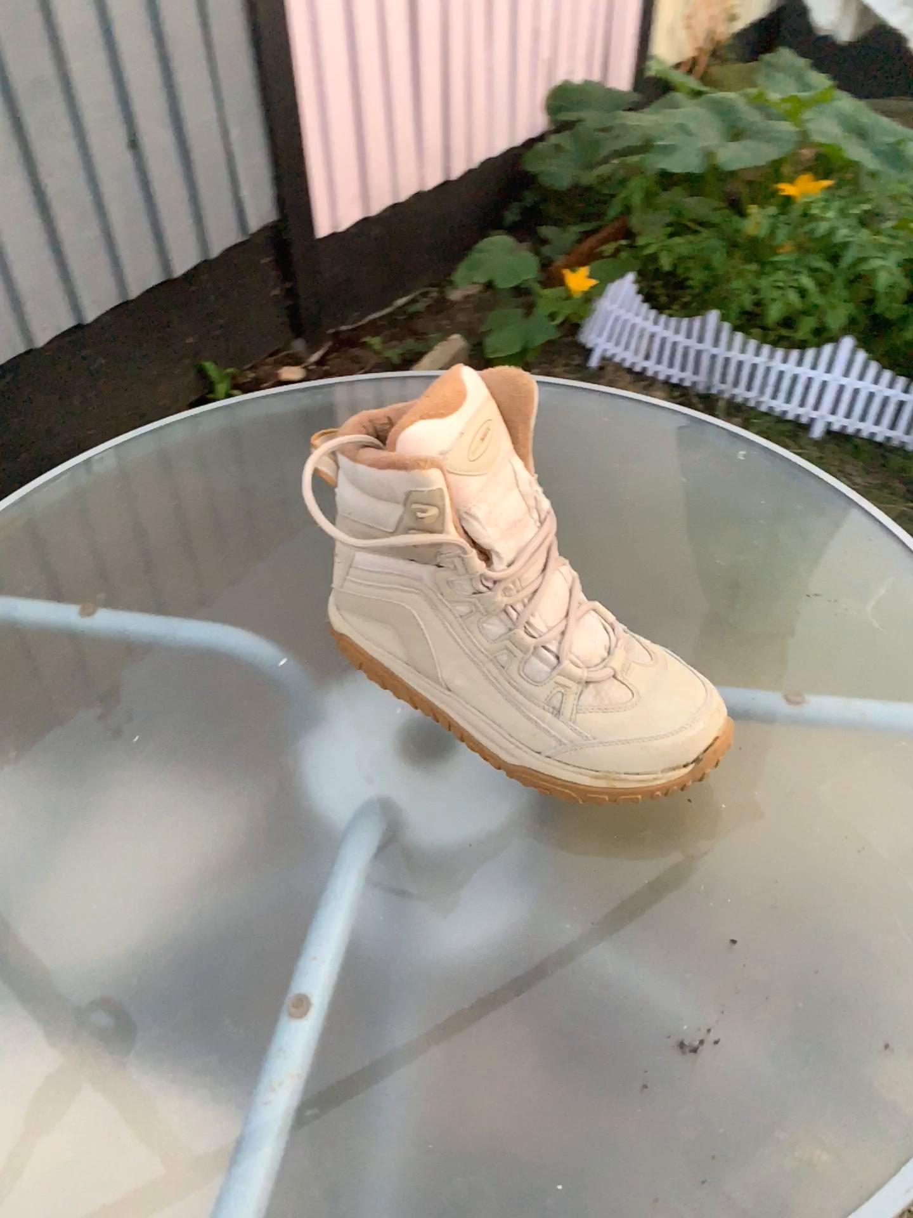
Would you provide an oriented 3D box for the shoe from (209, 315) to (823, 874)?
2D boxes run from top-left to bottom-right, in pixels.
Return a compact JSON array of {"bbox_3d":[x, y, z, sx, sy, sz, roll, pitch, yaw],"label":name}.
[{"bbox_3d":[0.024,-0.018,0.523,0.281,0.198,0.121,23,46,25],"label":"shoe"}]
